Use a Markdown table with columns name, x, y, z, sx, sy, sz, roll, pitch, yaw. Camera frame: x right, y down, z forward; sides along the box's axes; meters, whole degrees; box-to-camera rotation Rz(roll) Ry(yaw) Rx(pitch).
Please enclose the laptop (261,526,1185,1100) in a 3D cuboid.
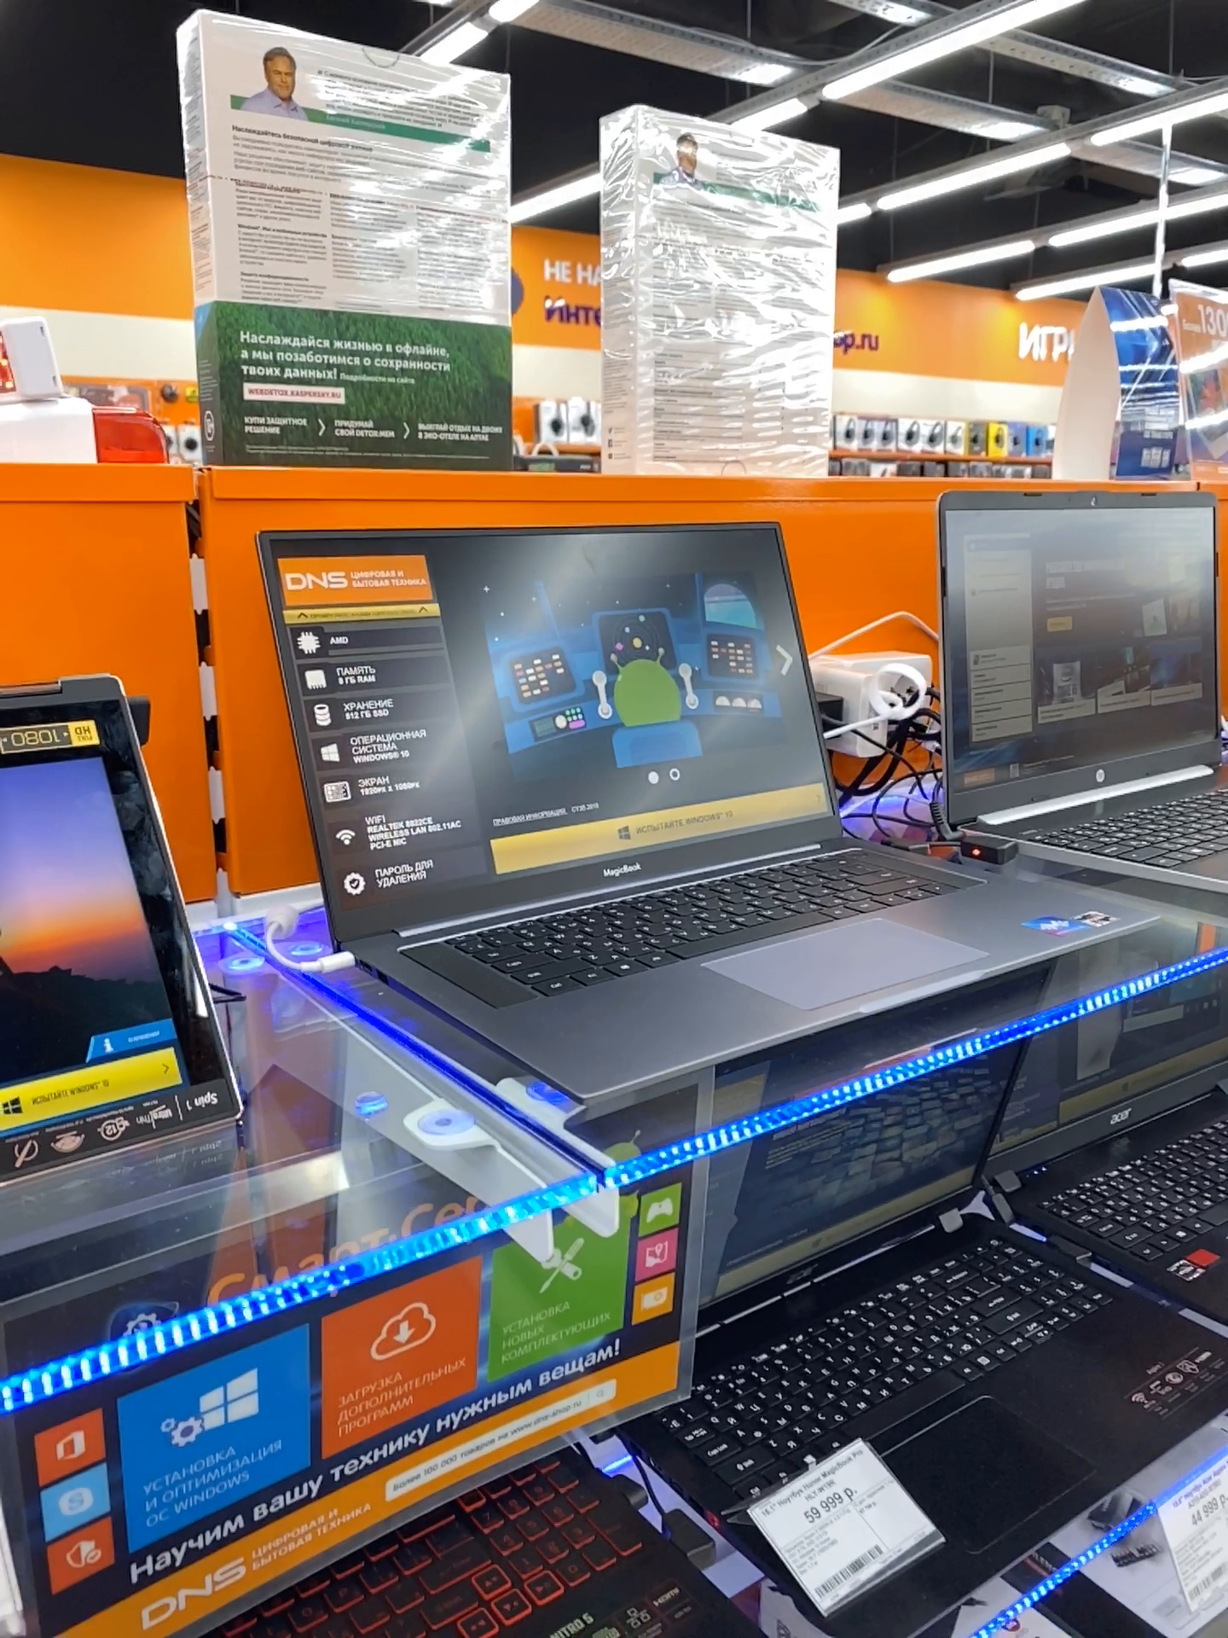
| name | x | y | z | sx | sy | sz | roll | pitch | yaw |
| --- | --- | --- | --- | --- | --- | --- | --- | --- | --- |
| laptop | 0.049 | -0.051 | 0.677 | 0.368 | 0.207 | 0.315 | -9 | 15 | -33 |
